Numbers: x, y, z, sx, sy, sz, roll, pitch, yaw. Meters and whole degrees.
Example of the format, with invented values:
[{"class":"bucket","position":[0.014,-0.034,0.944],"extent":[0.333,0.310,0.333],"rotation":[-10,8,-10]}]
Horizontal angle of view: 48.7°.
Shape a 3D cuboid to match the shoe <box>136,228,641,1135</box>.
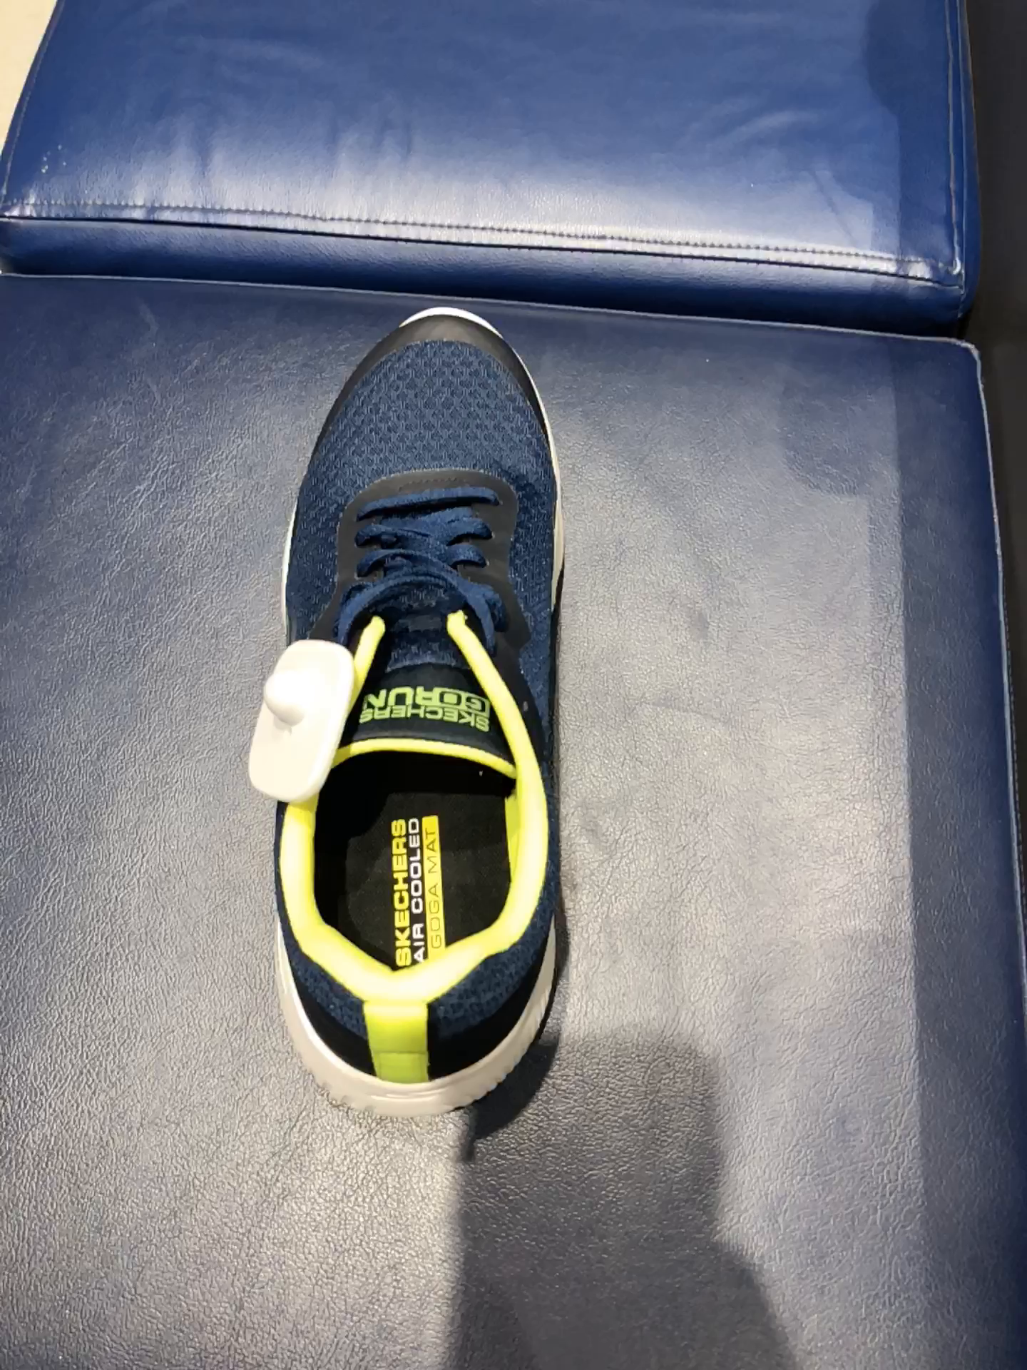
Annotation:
[{"class":"shoe","position":[-0.033,0.004,0.364],"extent":[0.113,0.132,0.255],"rotation":[-3,68,0]}]
